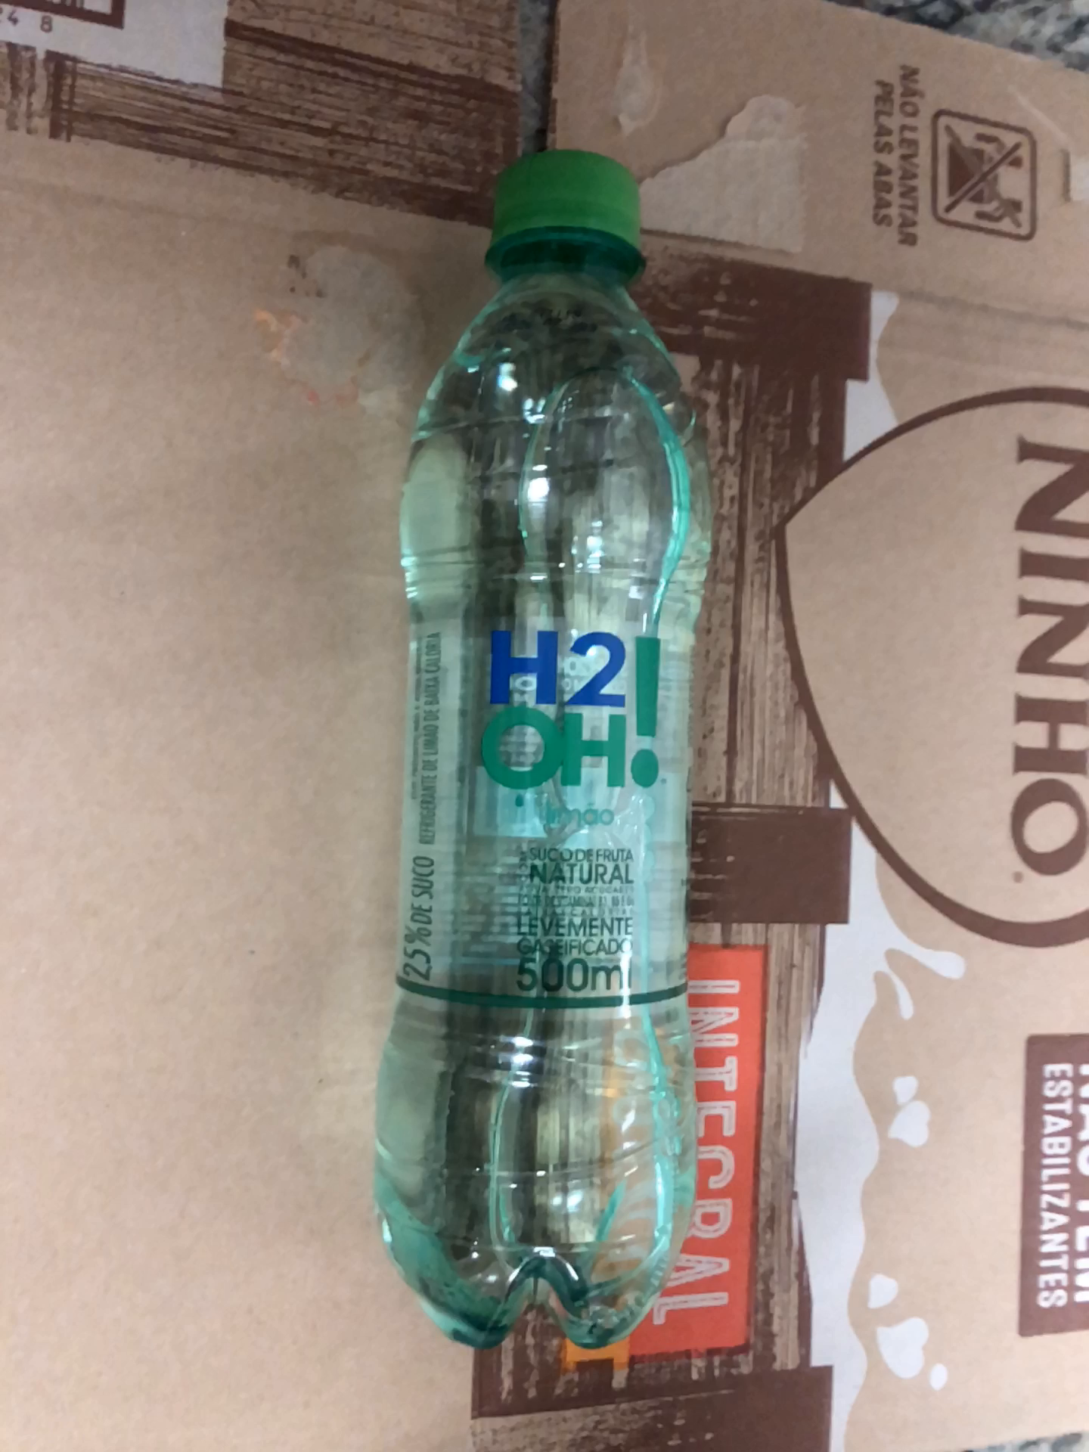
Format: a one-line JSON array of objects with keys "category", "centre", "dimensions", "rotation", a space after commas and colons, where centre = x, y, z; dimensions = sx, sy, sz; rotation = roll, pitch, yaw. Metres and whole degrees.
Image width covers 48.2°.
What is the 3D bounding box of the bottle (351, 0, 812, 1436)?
[{"category": "bottle", "centre": [0.007, -0.005, 0.243], "dimensions": [0.070, 0.050, 0.250], "rotation": [3, 86, -20]}]
